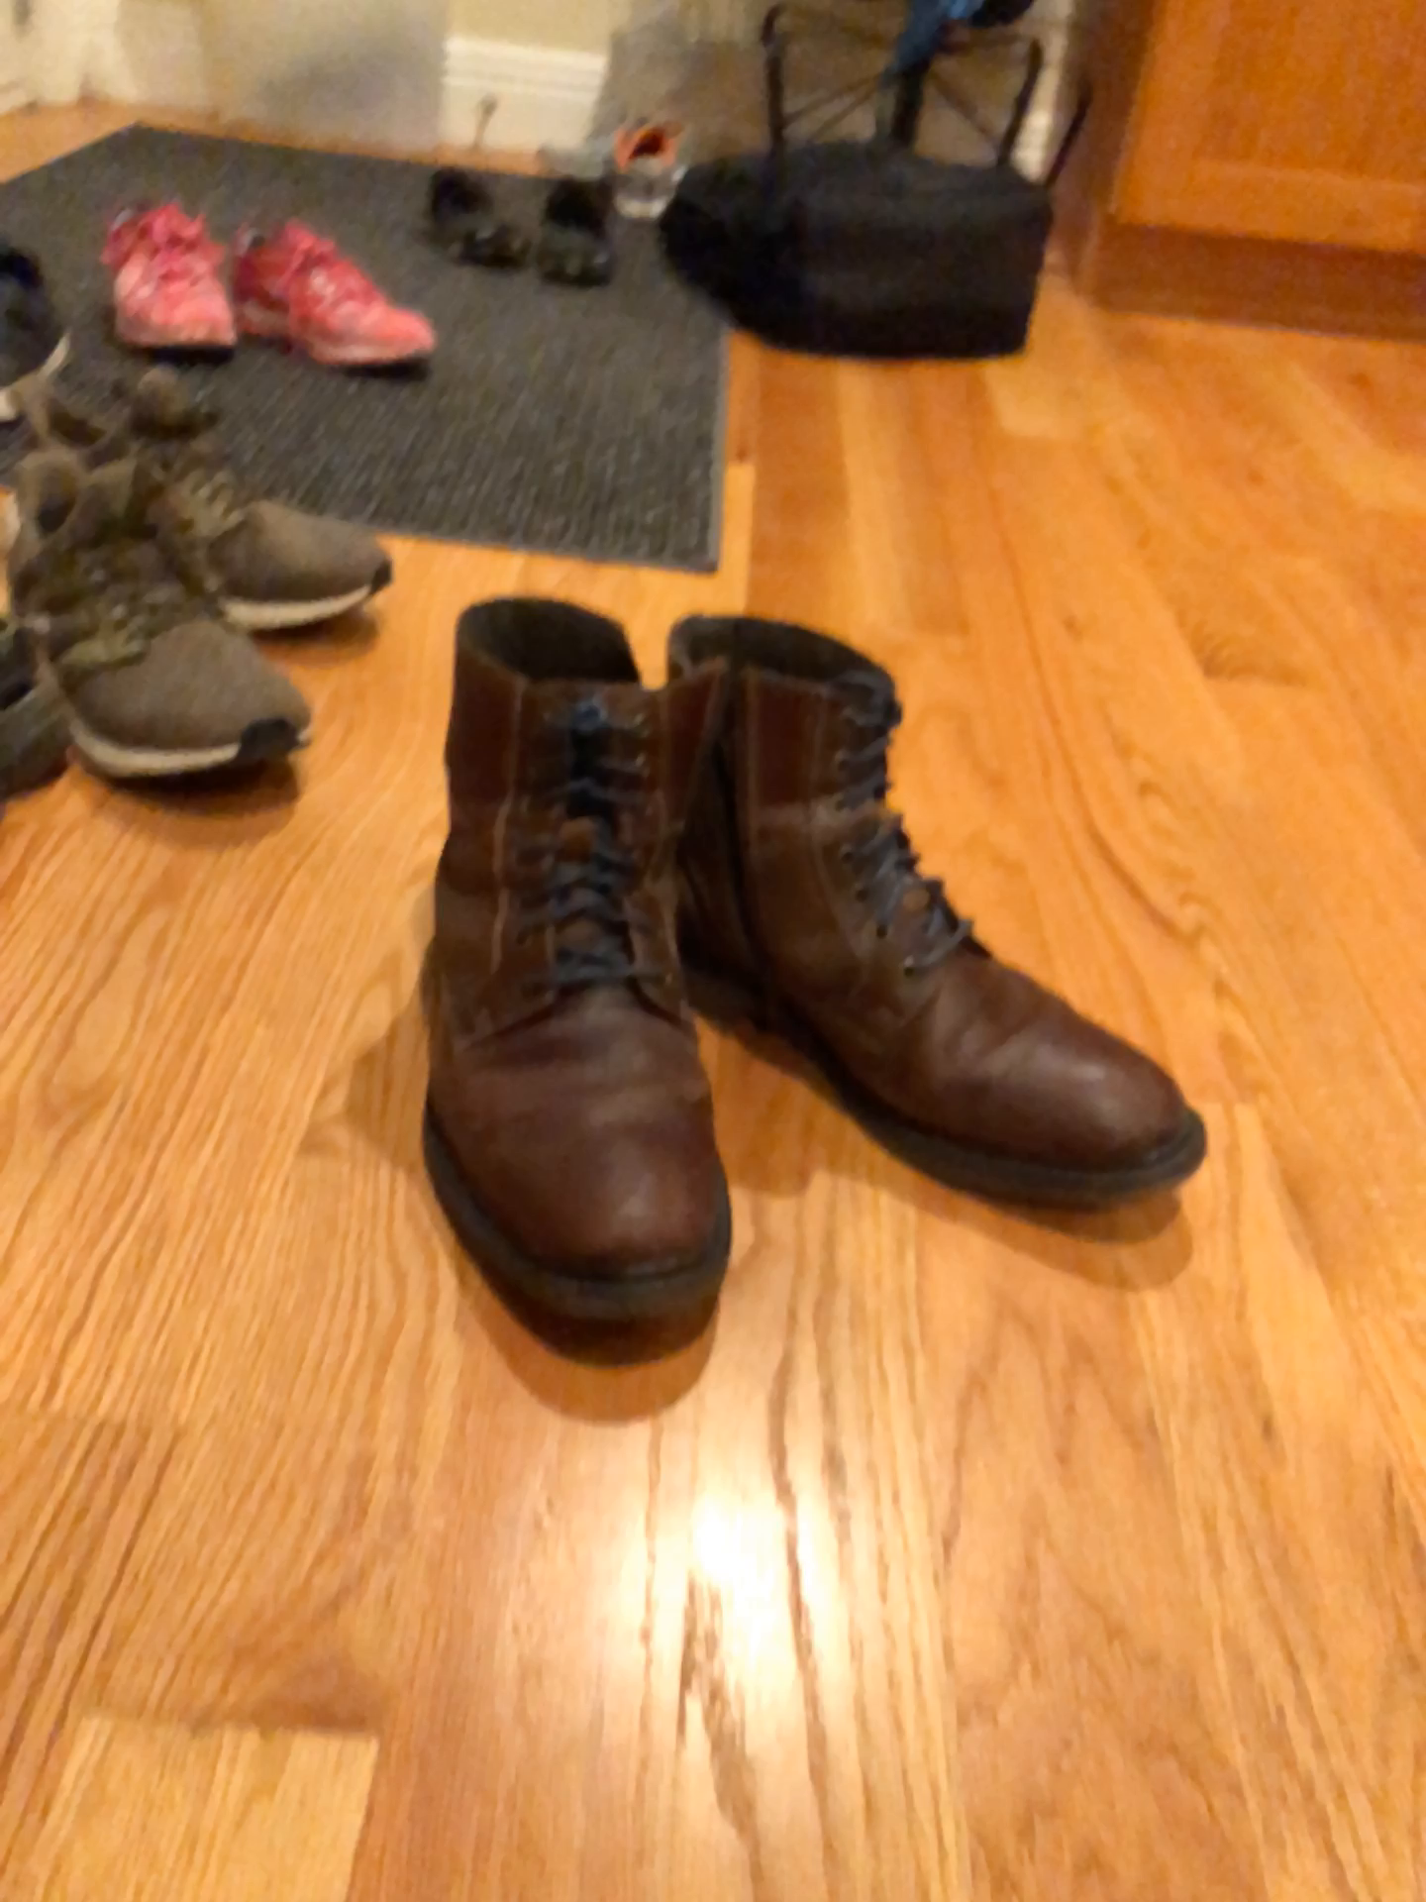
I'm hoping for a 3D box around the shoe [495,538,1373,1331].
[{"bbox_3d":[0.069,-0.023,0.641,0.304,0.176,0.128,28,40,27],"label":"shoe"}]

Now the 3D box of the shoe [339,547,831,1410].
[{"bbox_3d":[-0.069,-0.014,0.601,0.113,0.167,0.311,-4,36,-16],"label":"shoe"}]
